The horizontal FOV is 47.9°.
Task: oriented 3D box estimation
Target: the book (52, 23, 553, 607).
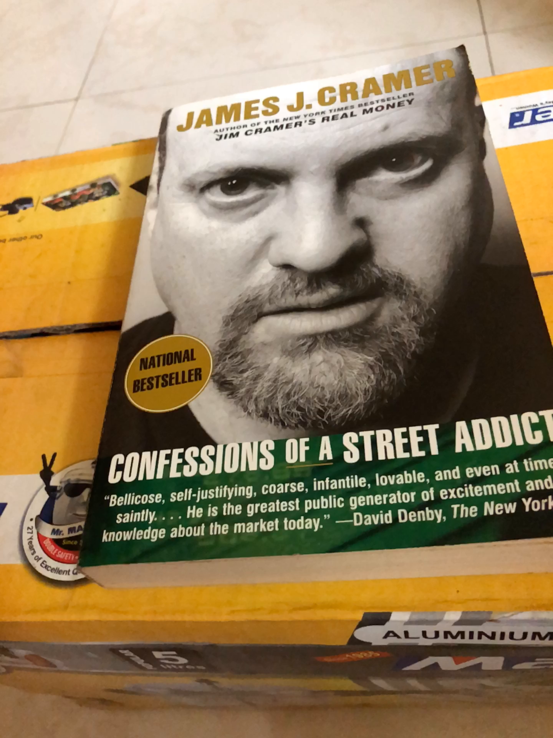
[{"bbox_3d":[0.014,-0.039,0.228,0.140,0.030,0.231,-7,54,10],"label":"book"}]
